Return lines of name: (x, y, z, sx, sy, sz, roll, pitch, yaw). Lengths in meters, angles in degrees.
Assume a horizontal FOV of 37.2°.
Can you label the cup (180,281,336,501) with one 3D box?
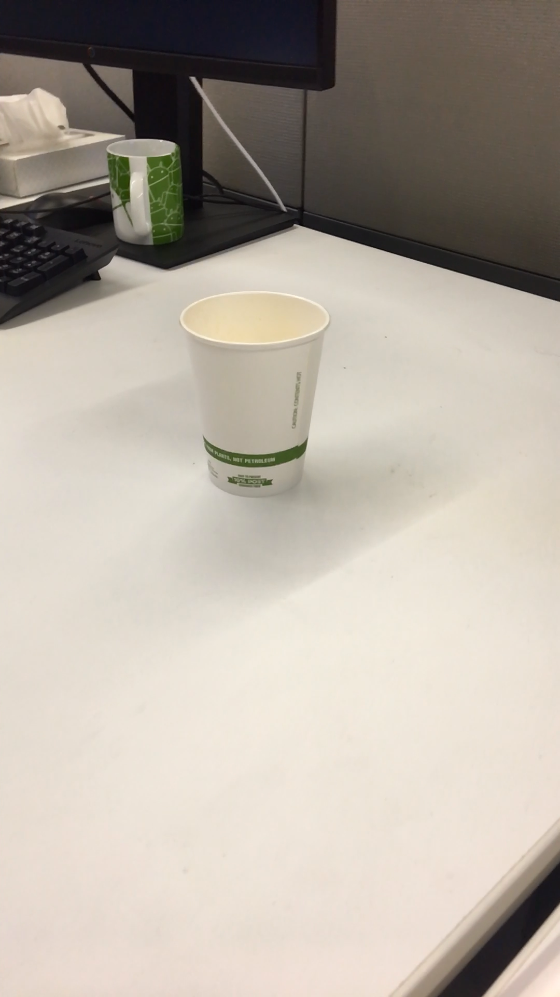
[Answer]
cup: (-0.016, -0.068, 0.507, 0.080, 0.100, 0.090, -4, 33, -7)
